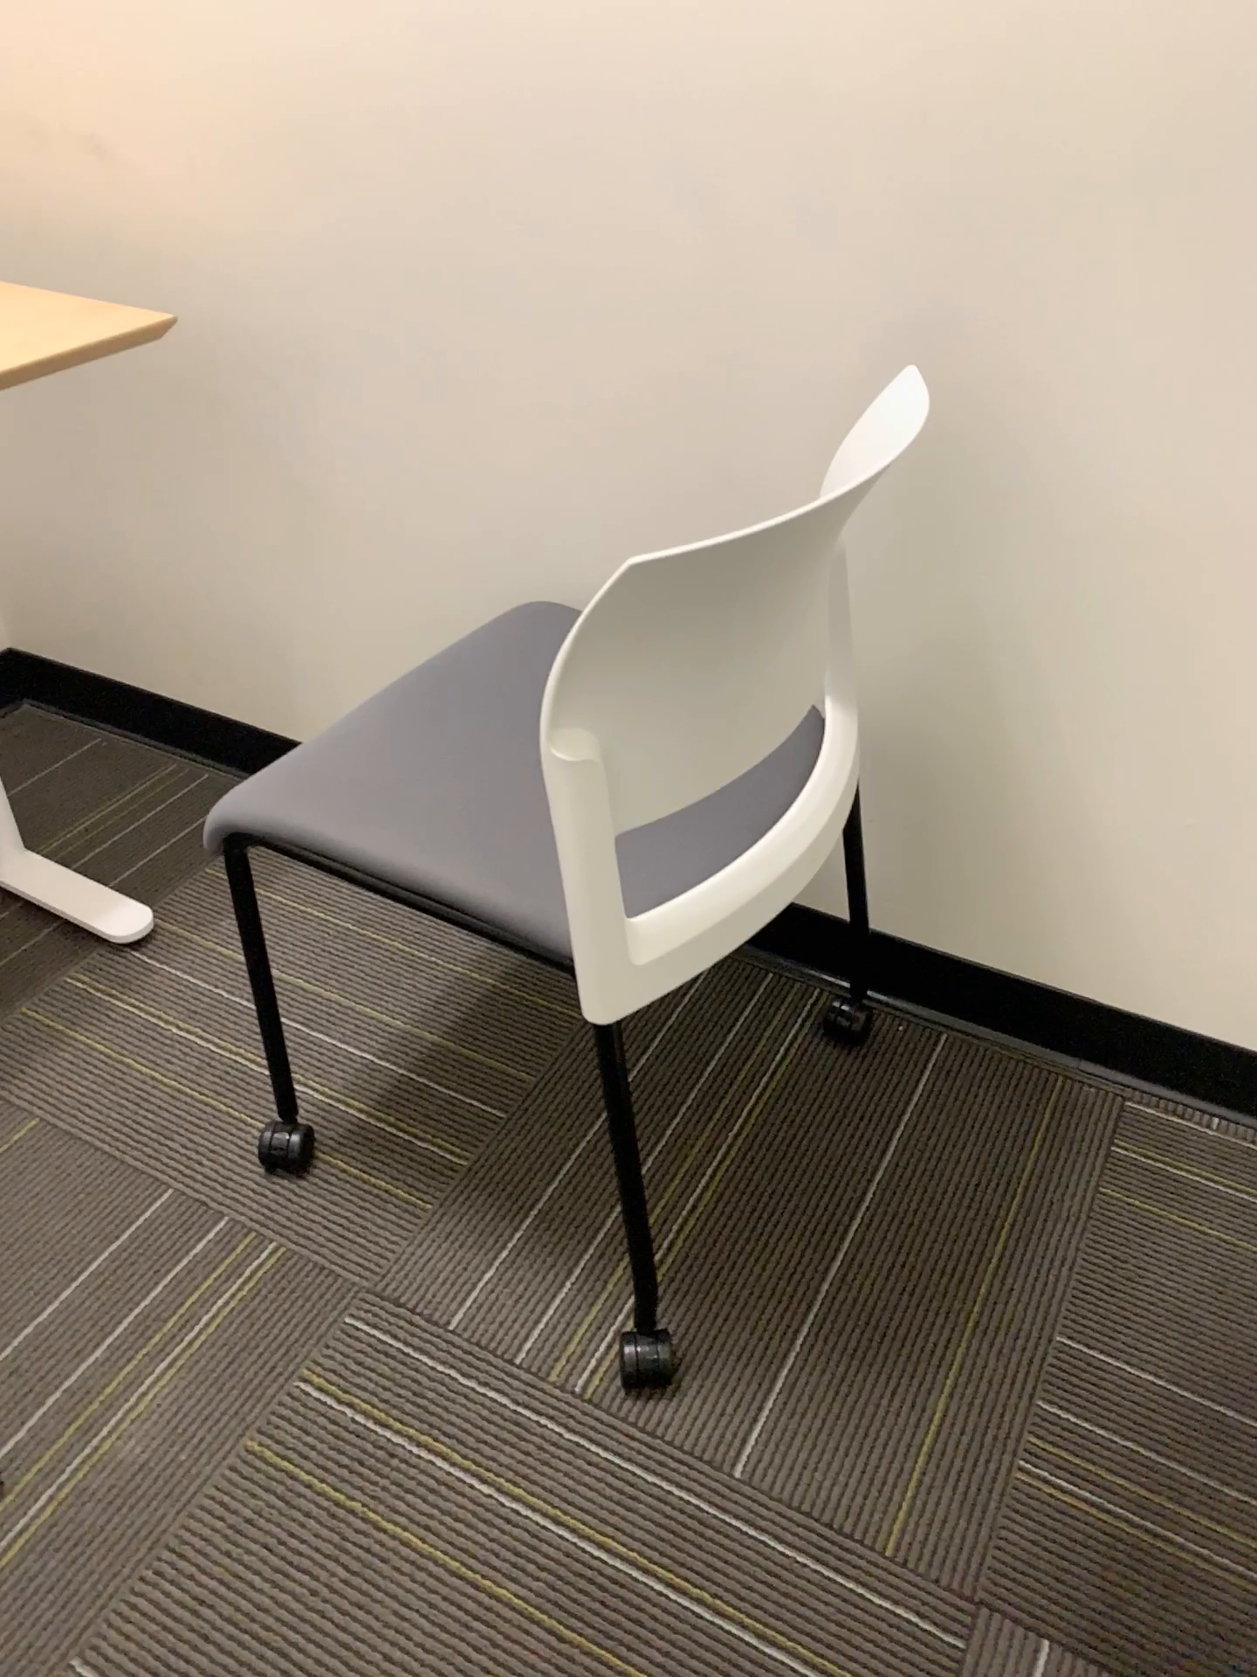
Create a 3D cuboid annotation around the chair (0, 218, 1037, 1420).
[{"bbox_3d":[-0.049,-0.056,1.193,0.541,0.805,0.602,19,40,23],"label":"chair"}]
